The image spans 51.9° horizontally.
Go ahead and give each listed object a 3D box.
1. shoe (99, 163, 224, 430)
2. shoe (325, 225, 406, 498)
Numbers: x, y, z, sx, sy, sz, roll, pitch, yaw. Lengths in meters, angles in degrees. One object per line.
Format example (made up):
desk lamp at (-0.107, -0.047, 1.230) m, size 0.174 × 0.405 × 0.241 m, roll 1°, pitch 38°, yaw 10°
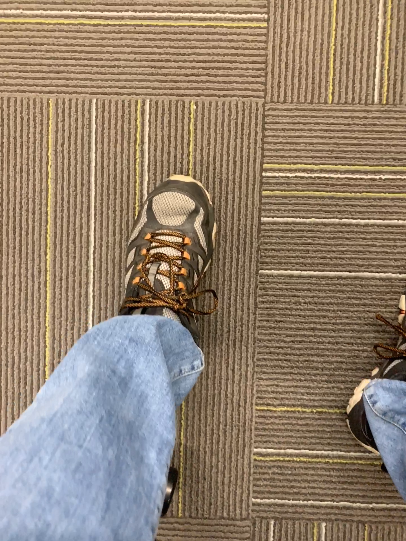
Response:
shoe at (-0.052, 0.032, 0.566) m, size 0.125 × 0.095 × 0.323 m, roll 6°, pitch 94°, yaw 1°
shoe at (0.308, 0.113, 0.563) m, size 0.122 × 0.095 × 0.322 m, roll 26°, pitch 94°, yaw 0°
